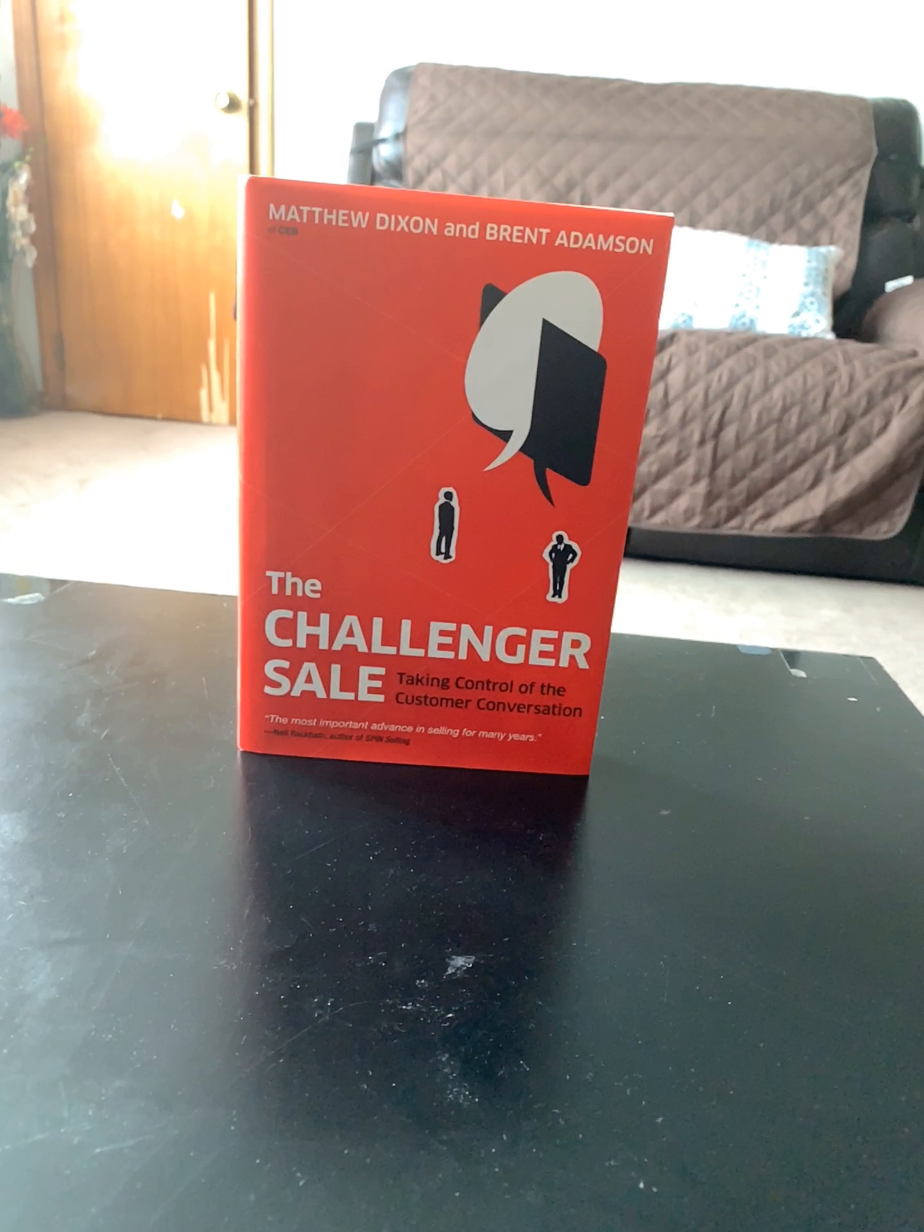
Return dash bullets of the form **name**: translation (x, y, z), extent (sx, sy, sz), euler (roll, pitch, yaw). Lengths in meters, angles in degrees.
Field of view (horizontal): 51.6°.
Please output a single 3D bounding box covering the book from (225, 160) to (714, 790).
- **book**: translation (-0.006, -0.048, 0.393), extent (0.170, 0.238, 0.040), euler (4, 21, -1)
